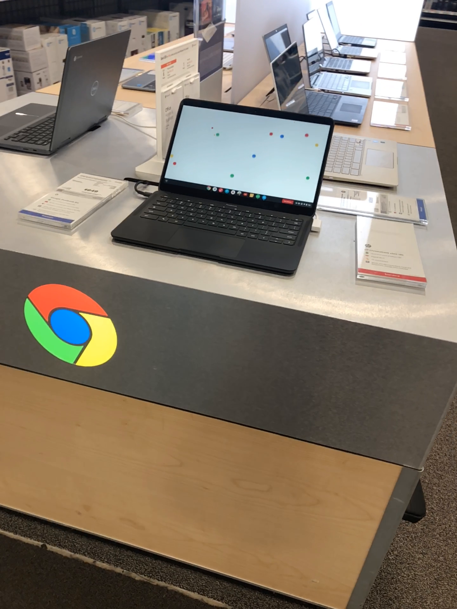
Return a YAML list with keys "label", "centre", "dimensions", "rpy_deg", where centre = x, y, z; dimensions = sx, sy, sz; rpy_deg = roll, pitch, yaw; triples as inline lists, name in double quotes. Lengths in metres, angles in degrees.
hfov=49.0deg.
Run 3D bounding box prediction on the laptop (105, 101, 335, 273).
- label: "laptop"
  centre: [0.006, -0.224, 0.865]
  dimensions: [0.293, 0.134, 0.336]
  rpy_deg: [12, 37, 10]
